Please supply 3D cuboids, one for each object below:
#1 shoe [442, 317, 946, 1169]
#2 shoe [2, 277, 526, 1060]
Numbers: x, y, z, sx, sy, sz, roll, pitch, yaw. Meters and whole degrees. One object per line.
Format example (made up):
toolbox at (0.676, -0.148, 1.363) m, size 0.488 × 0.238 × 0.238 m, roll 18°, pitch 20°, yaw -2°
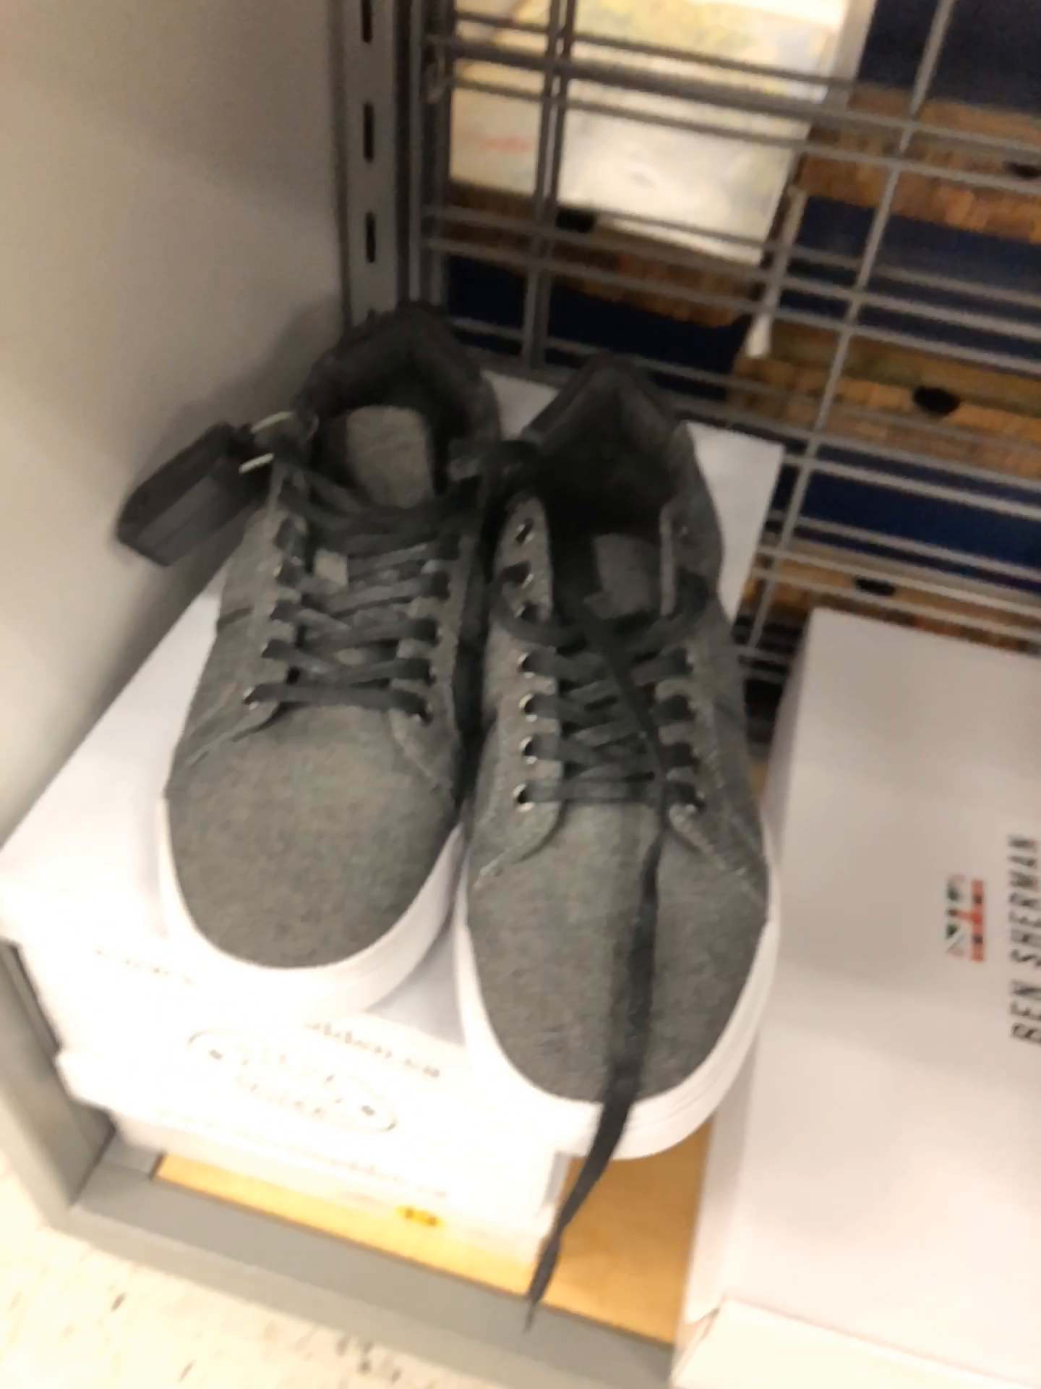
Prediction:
shoe at (0.036, -0.004, 0.379) m, size 0.107 × 0.099 × 0.272 m, roll 3°, pitch 47°, yaw -3°
shoe at (-0.063, -0.026, 0.397) m, size 0.107 × 0.099 × 0.262 m, roll 6°, pitch 47°, yaw -1°
